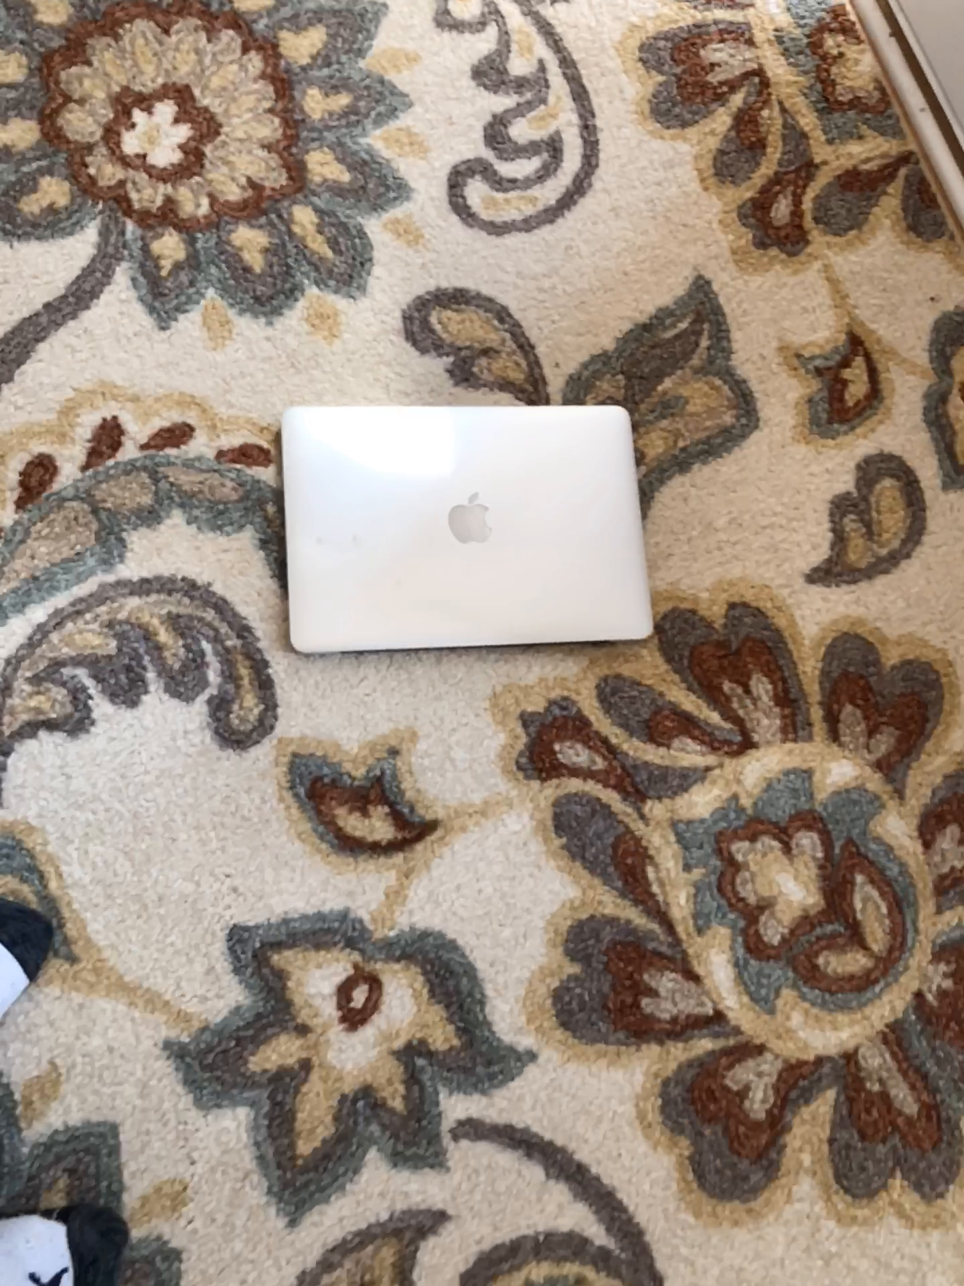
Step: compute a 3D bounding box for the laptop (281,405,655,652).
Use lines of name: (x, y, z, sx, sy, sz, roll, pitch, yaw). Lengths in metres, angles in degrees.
laptop: (-0.012, -0.099, 0.885, 0.295, 0.001, 0.207, -3, 77, -8)
